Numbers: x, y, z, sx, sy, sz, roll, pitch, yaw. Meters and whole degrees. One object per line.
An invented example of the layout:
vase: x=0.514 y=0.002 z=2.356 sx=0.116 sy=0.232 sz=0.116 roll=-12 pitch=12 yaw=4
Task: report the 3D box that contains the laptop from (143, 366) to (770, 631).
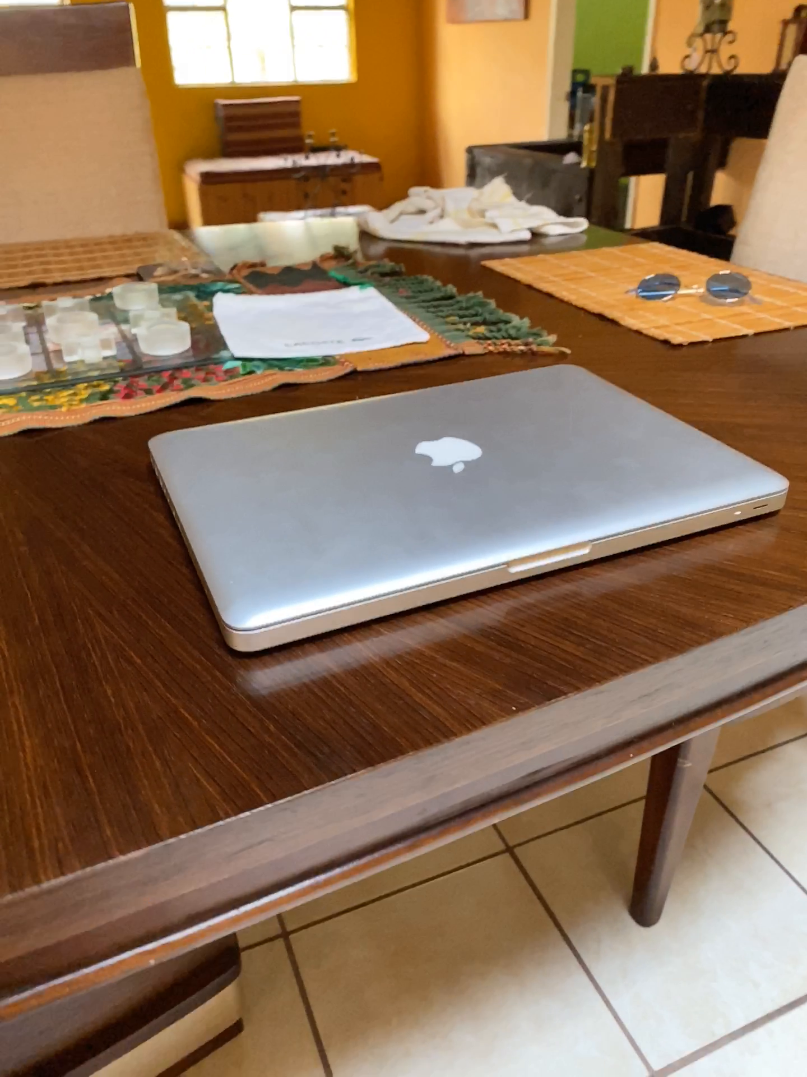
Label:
laptop: x=0.020 y=-0.049 z=0.521 sx=0.324 sy=0.002 sz=0.233 roll=-14 pitch=33 yaw=-20
